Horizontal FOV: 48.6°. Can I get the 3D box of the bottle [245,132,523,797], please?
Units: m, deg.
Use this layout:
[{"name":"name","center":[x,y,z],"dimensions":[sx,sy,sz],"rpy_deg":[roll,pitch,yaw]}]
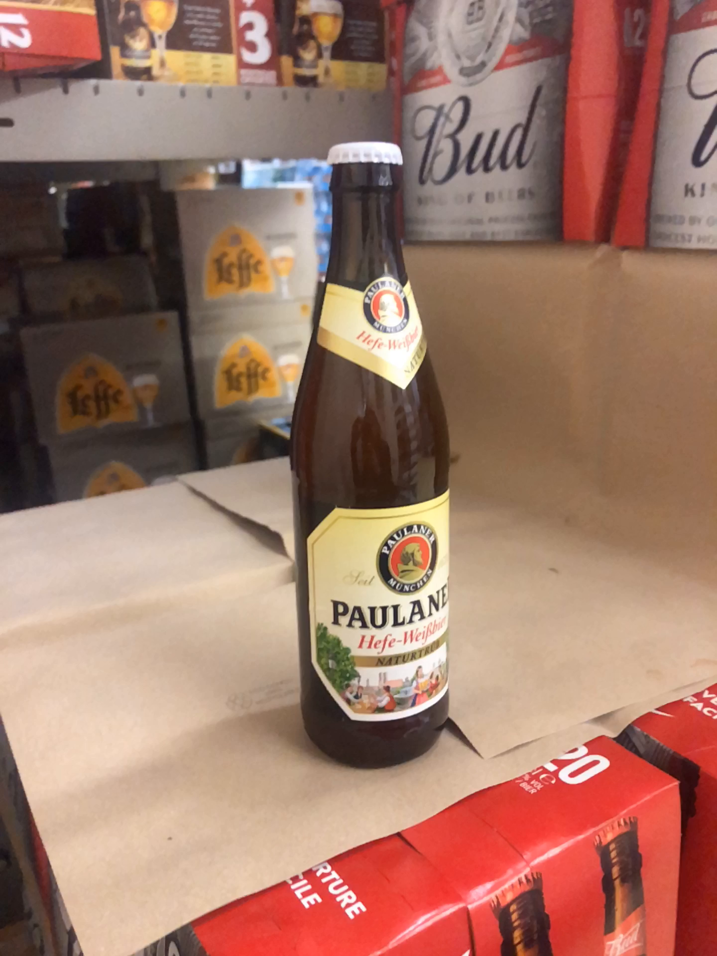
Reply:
[{"name":"bottle","center":[0.009,-0.005,0.320],"dimensions":[0.080,0.239,0.080],"rpy_deg":[-2,18,1]}]
